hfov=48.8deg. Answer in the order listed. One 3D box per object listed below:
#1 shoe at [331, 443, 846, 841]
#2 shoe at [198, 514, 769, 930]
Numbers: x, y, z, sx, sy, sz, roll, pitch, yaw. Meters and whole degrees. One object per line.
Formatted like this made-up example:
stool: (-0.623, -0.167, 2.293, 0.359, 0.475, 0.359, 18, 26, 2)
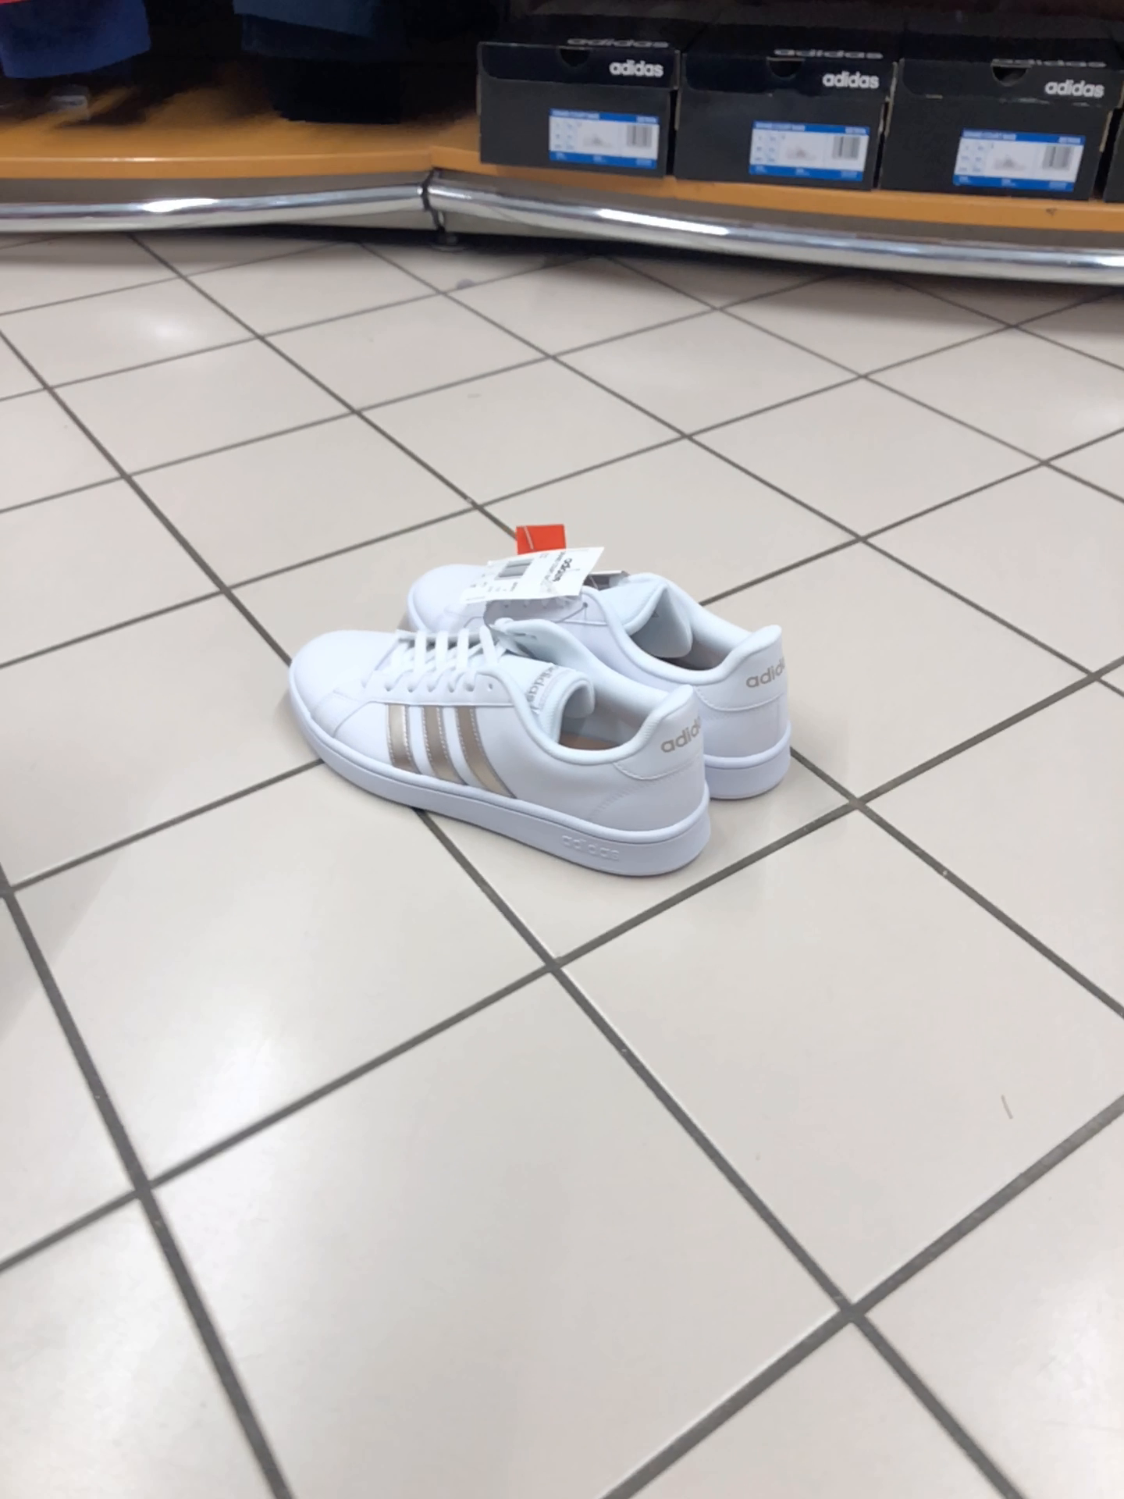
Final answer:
shoe: (0.007, -0.072, 0.709, 0.280, 0.099, 0.101, 27, 47, 29)
shoe: (-0.045, -0.024, 0.658, 0.280, 0.099, 0.101, 21, 44, 23)
